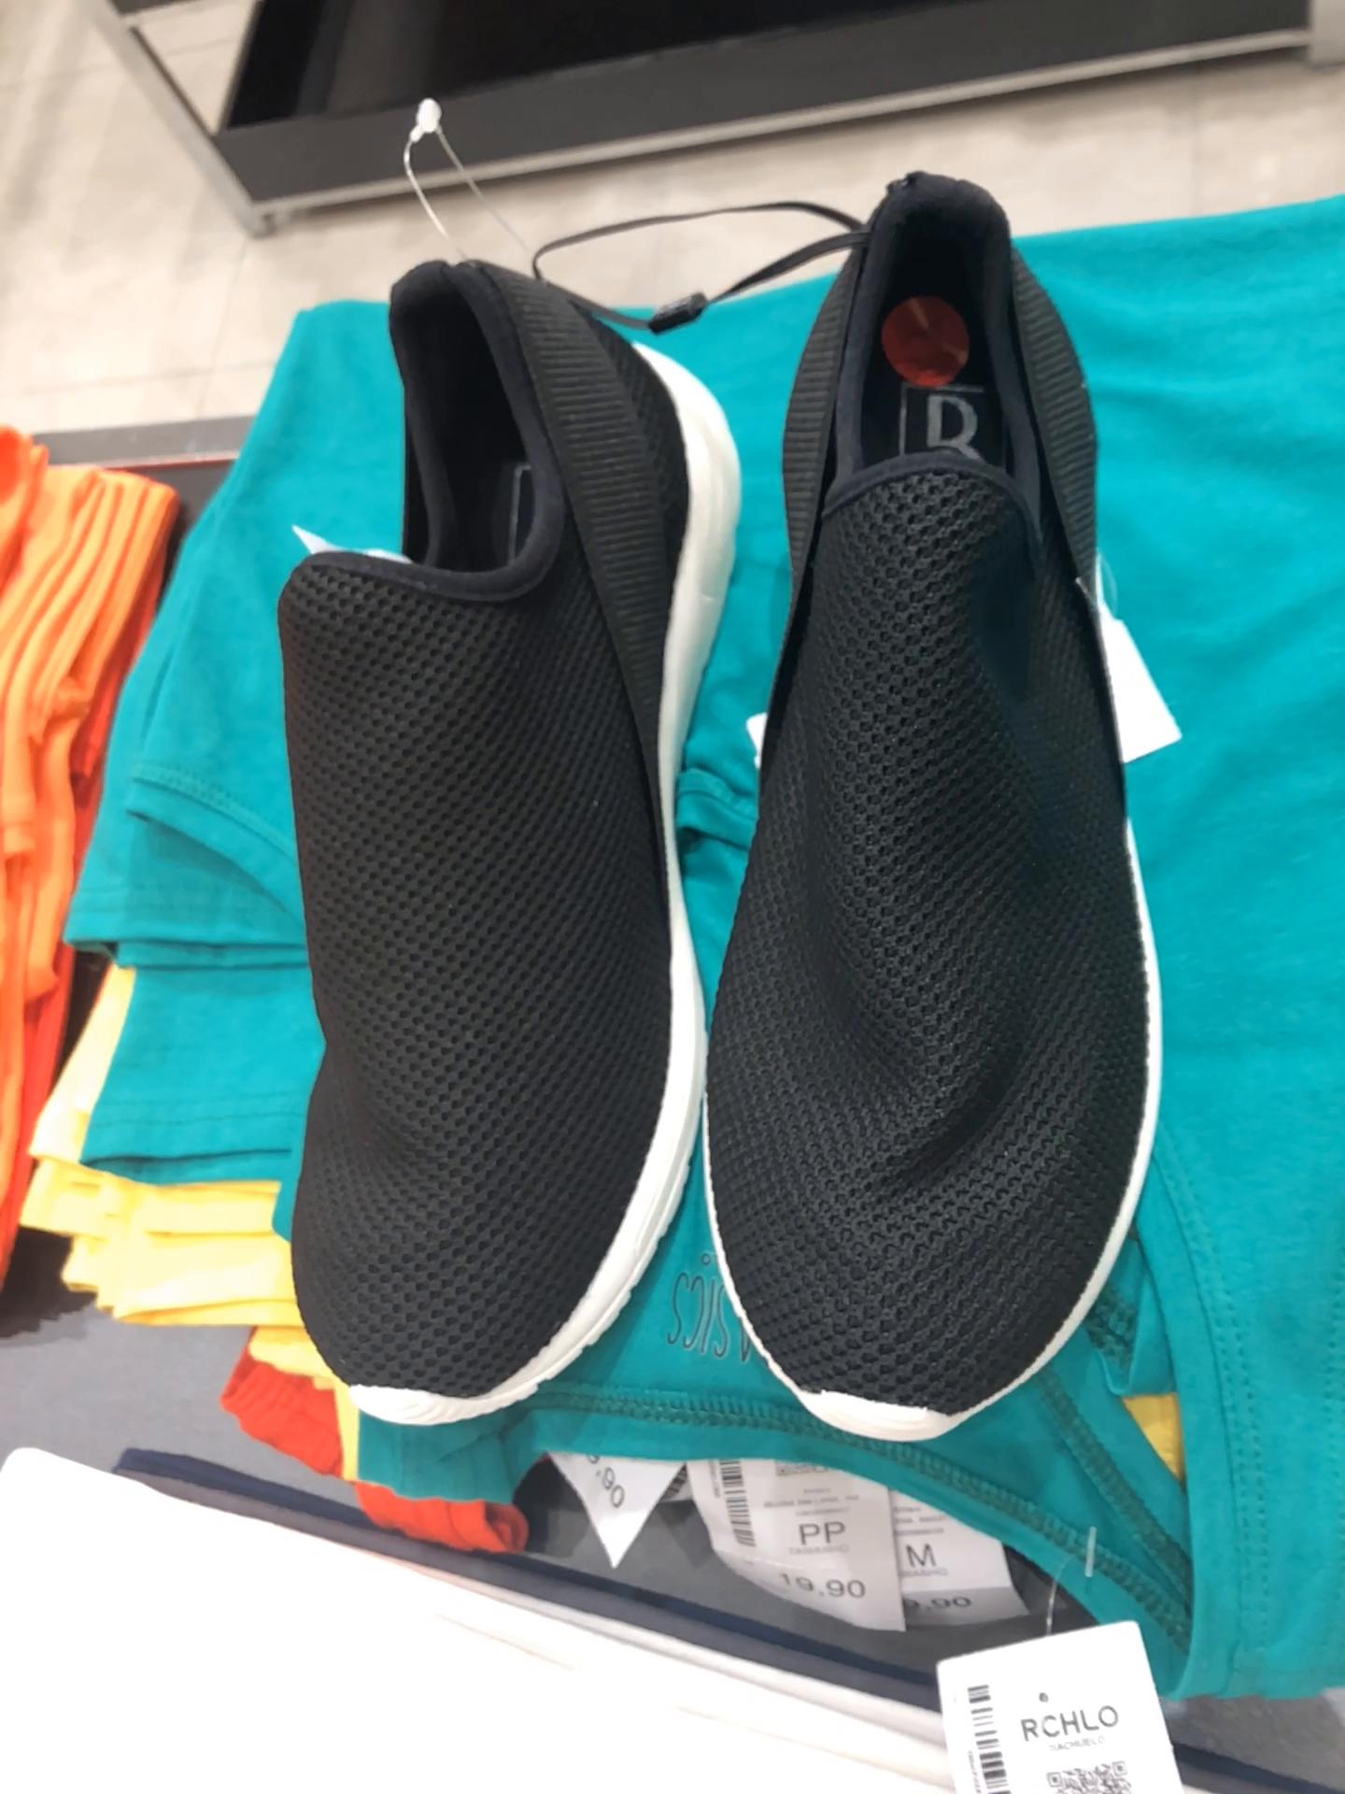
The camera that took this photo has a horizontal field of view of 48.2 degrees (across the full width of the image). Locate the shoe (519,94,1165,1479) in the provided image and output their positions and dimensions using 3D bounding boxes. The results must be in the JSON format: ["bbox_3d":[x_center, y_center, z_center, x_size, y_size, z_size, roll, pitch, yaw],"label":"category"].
[{"bbox_3d":[0.052,-0.017,0.306,0.090,0.120,0.241,0,68,19],"label":"shoe"}]

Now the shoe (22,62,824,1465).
[{"bbox_3d":[-0.033,-0.023,0.326,0.090,0.120,0.260,0,72,19],"label":"shoe"}]
